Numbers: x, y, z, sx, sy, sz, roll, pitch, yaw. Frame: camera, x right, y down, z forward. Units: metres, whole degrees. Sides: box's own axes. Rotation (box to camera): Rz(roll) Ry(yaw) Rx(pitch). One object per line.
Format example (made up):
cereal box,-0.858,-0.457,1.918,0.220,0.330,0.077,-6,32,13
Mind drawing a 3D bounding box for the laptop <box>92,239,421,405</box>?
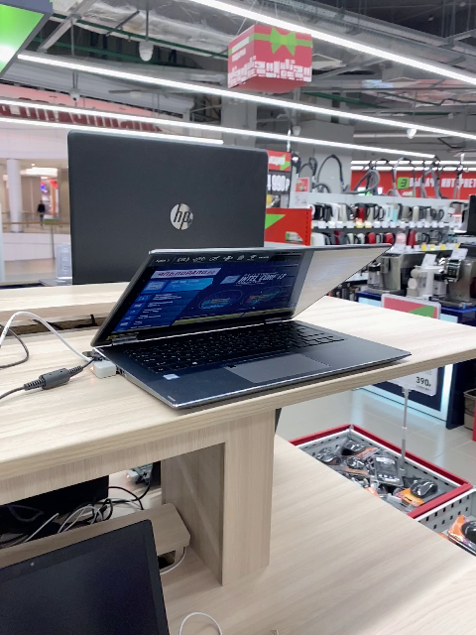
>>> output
laptop,0.020,-0.022,0.585,0.320,0.128,0.217,-6,14,-33
